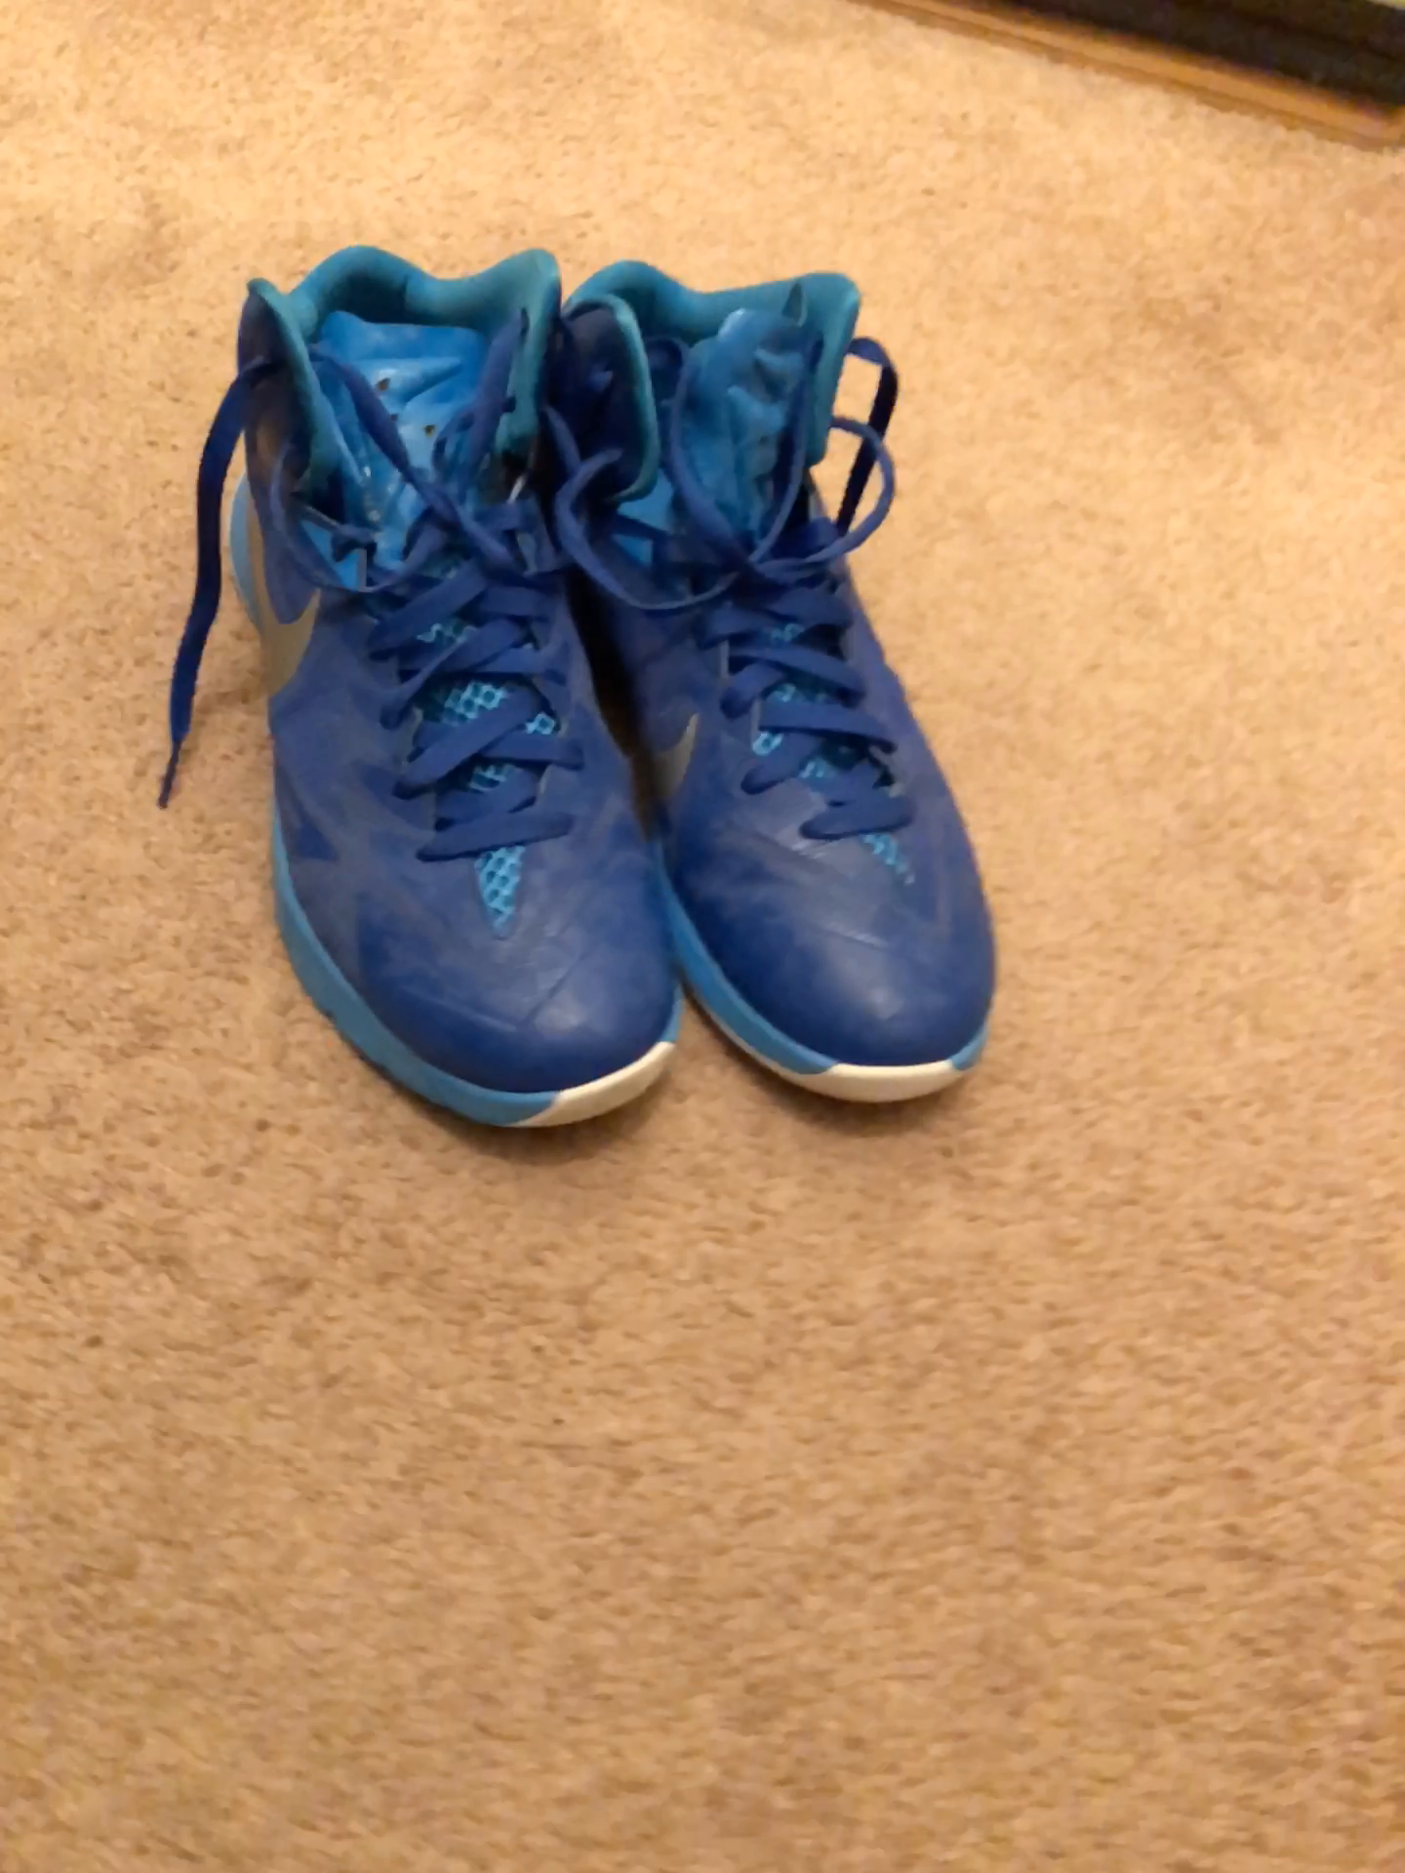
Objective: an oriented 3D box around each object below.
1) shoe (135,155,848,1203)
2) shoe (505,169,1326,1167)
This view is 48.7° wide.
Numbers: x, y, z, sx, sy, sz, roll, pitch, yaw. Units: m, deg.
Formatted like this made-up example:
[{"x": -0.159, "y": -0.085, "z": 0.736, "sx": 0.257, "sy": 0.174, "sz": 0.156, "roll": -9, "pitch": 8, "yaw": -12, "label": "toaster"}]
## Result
[{"x": -0.078, "y": -0.087, "z": 0.464, "sx": 0.120, "sy": 0.134, "sz": 0.279, "roll": -11, "pitch": 60, "yaw": -18, "label": "shoe"}, {"x": 0.041, "y": -0.095, "z": 0.491, "sx": 0.122, "sy": 0.134, "sz": 0.280, "roll": -13, "pitch": 60, "yaw": -19, "label": "shoe"}]
